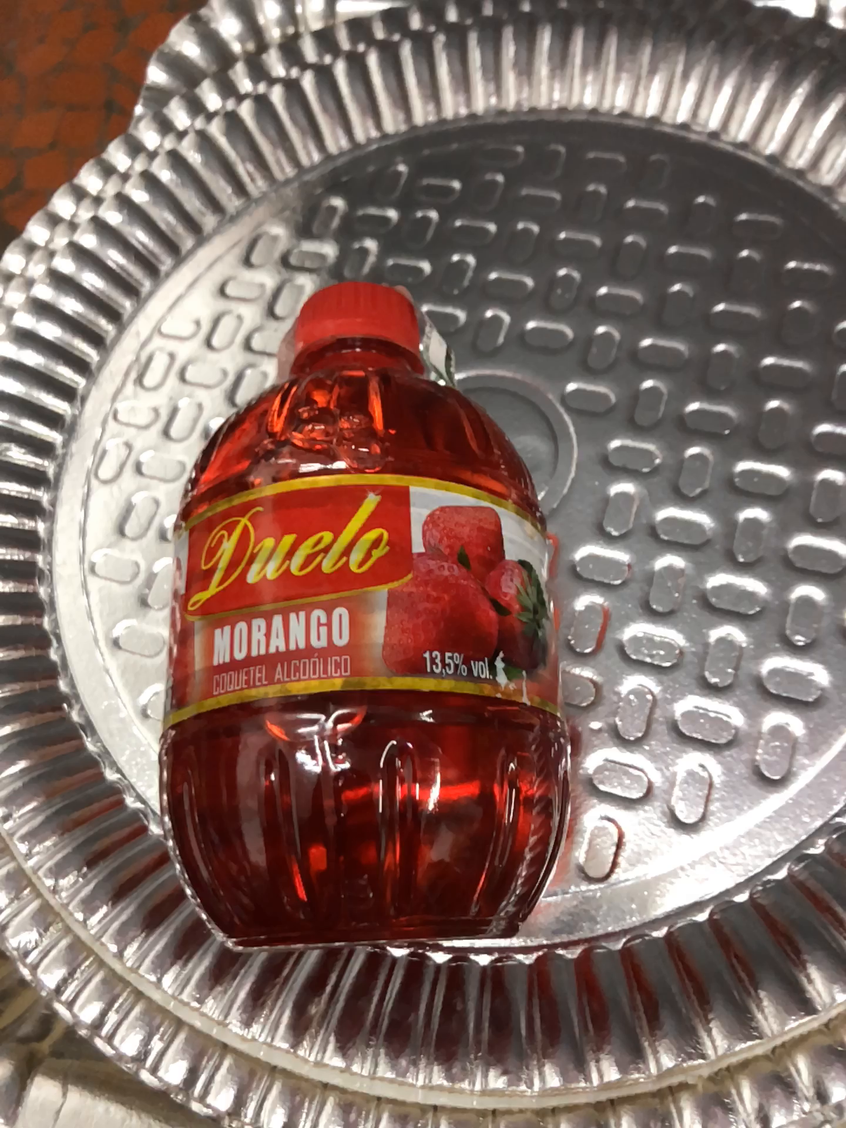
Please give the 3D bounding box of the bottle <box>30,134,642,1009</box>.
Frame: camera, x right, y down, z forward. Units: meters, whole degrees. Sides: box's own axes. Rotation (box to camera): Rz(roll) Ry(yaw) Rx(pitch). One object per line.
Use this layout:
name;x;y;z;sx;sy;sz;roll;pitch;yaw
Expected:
bottle;-0.012;0.004;0.195;0.090;0.070;0.150;-6;68;9
